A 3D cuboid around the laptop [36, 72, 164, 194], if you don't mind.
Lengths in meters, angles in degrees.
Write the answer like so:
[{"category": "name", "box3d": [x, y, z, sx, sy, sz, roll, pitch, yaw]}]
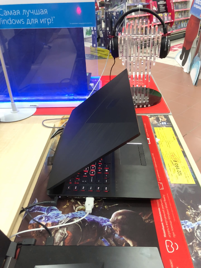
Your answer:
[{"category": "laptop", "box3d": [0.011, -0.037, 0.649, 0.258, 0.166, 0.397, 1, 33, 2]}]
